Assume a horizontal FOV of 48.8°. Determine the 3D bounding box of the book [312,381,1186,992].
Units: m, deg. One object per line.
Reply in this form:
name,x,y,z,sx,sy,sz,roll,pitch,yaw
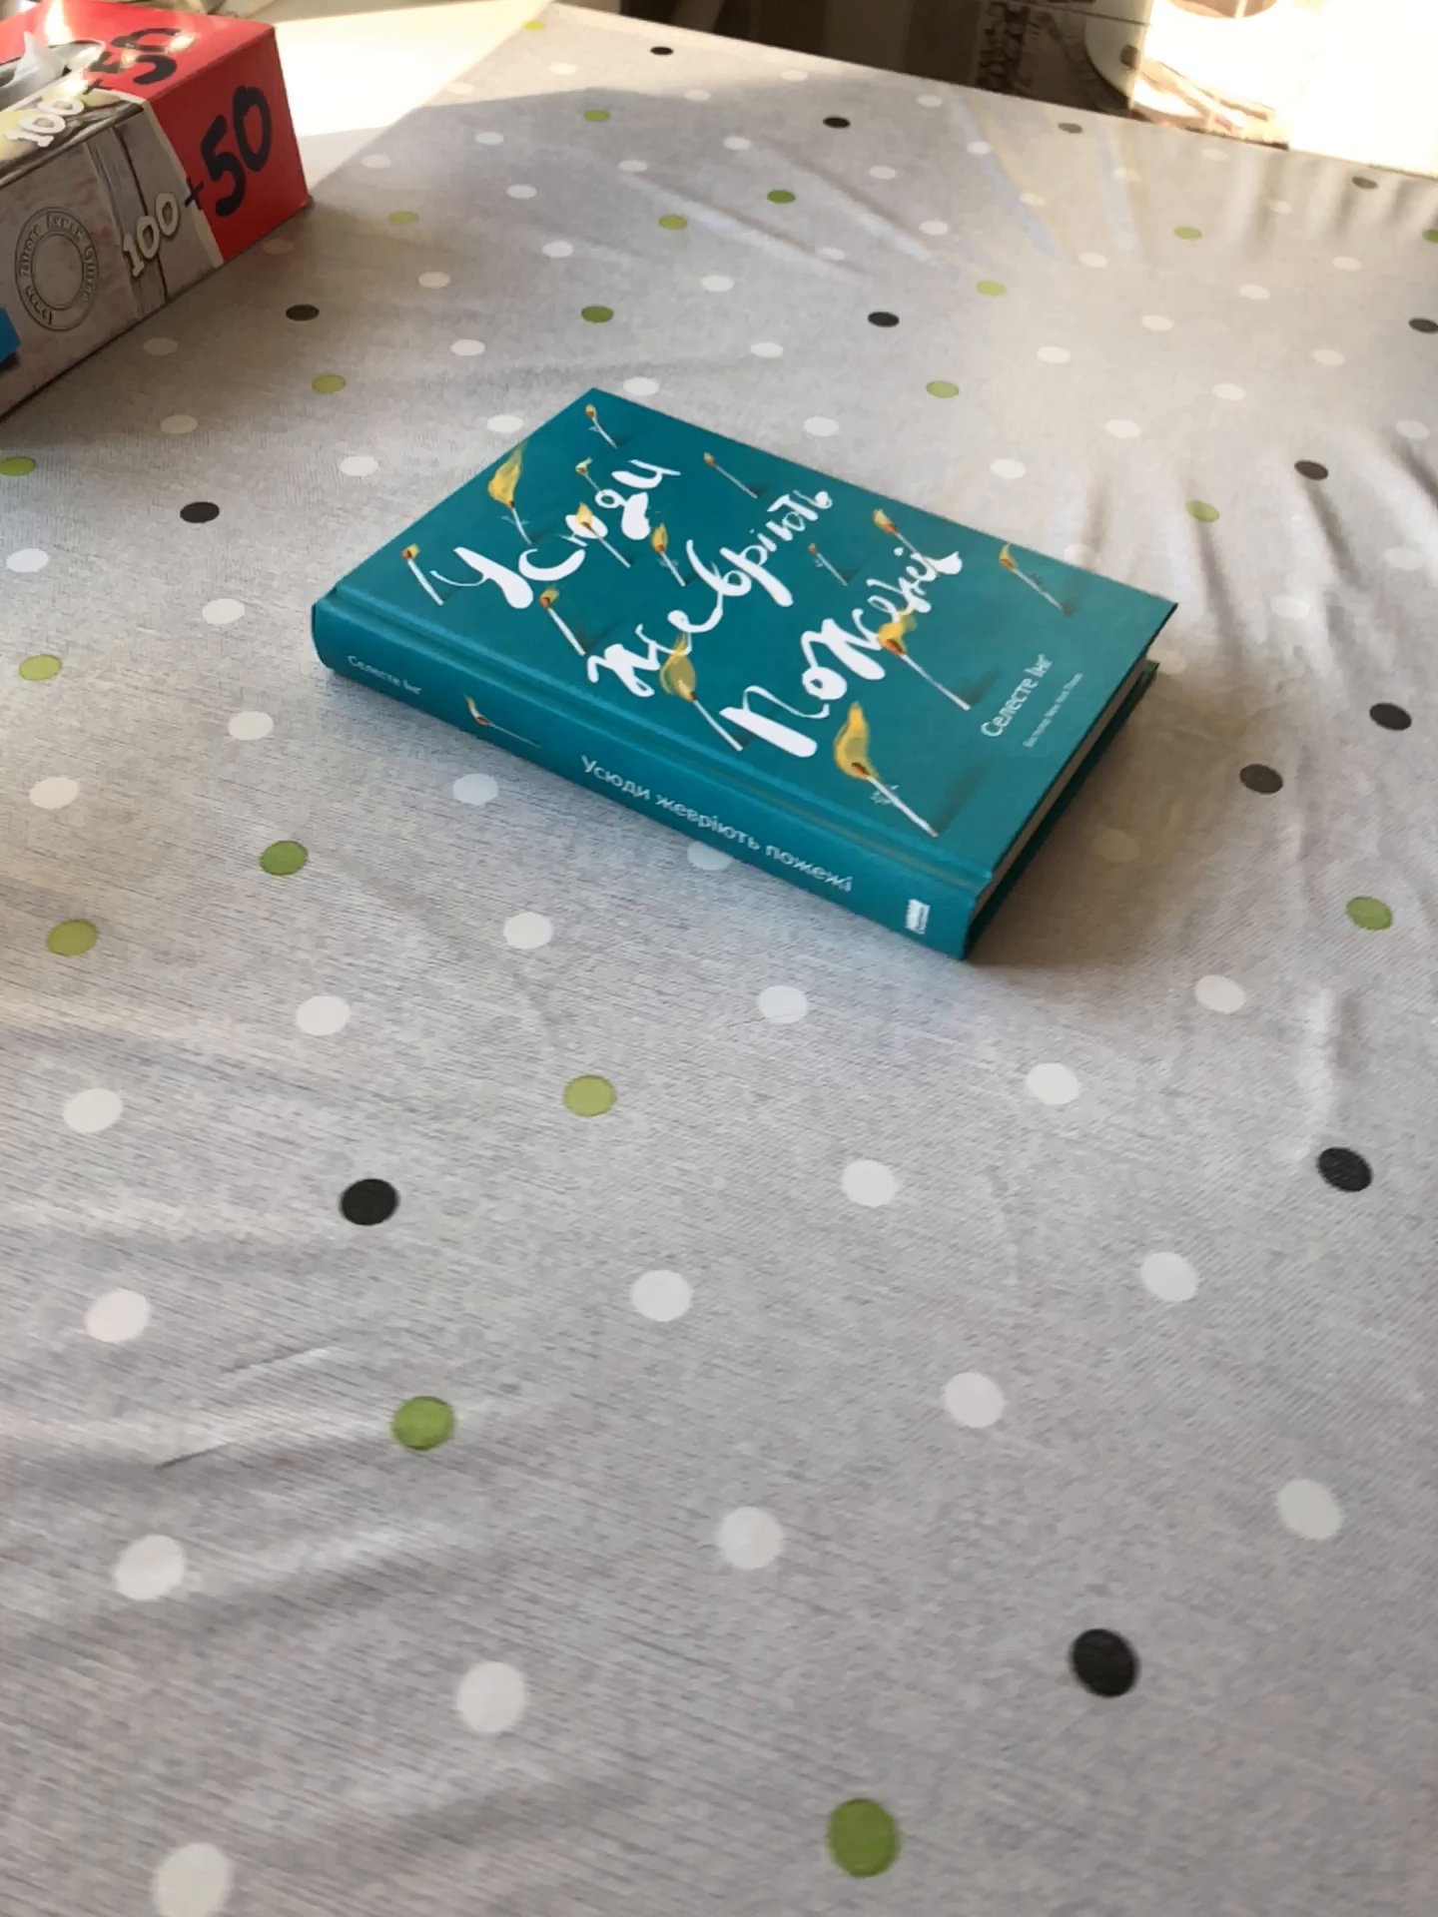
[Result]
book,0.011,-0.094,0.479,0.214,0.040,0.144,26,52,18
